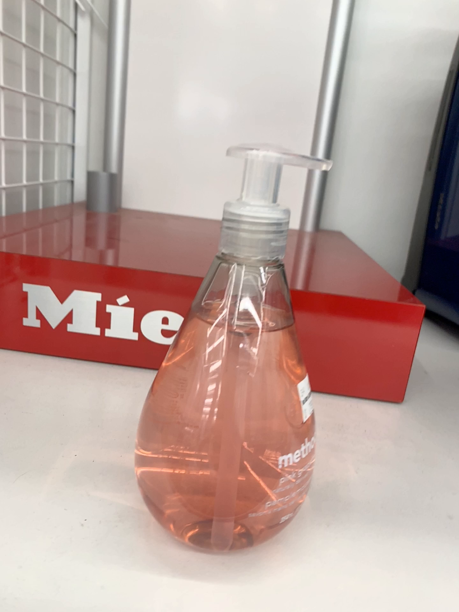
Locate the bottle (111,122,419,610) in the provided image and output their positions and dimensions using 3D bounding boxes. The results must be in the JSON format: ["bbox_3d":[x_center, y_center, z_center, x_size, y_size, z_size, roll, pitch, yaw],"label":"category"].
[{"bbox_3d":[0.011,0.015,0.201,0.077,0.160,0.080,6,16,-2],"label":"bottle"}]
